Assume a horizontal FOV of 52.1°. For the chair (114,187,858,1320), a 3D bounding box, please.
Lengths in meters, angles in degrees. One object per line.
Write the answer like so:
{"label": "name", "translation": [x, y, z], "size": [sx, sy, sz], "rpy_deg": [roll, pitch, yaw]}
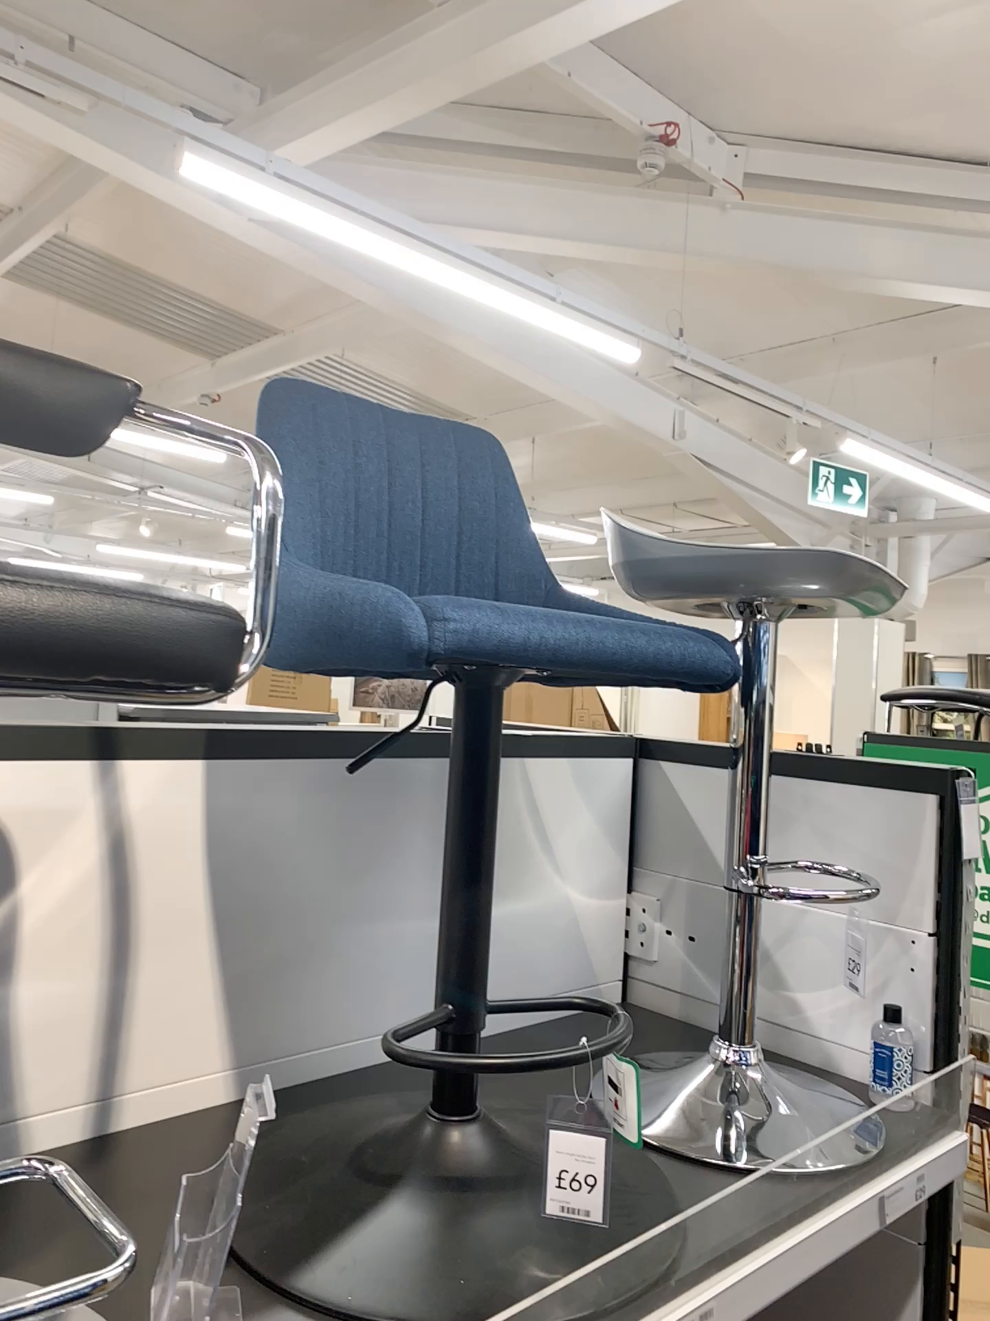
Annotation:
{"label": "chair", "translation": [0.000, 0.102, 1.083], "size": [0.538, 0.873, 0.508], "rpy_deg": [6, -4, -44]}

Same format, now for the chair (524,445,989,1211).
{"label": "chair", "translation": [0.342, 0.169, 1.296], "size": [0.408, 0.763, 0.388], "rpy_deg": [6, -4, -44]}
